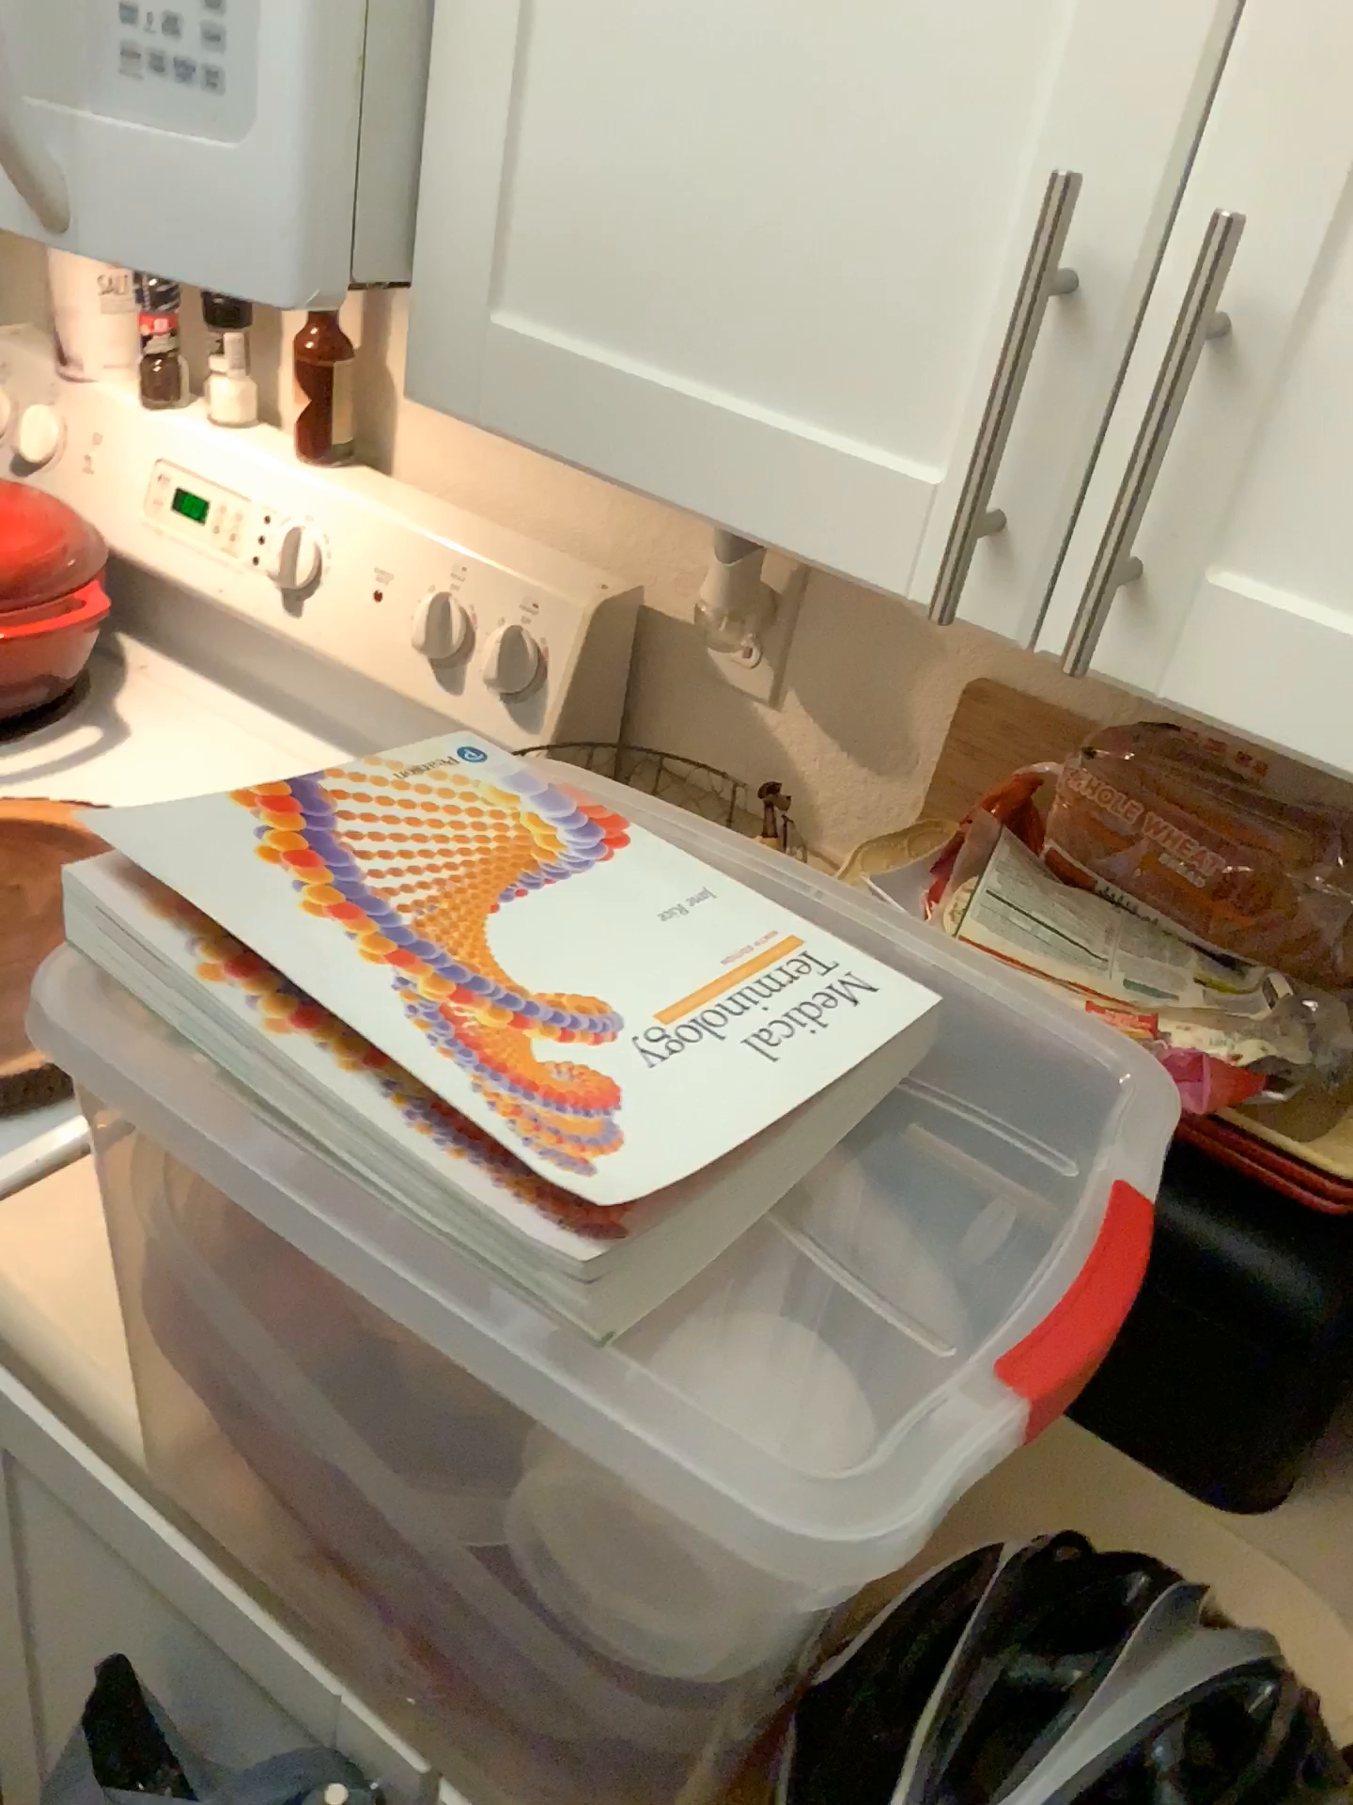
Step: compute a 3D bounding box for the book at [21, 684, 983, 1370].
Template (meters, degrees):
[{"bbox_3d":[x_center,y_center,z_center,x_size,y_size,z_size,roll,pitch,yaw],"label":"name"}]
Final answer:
[{"bbox_3d":[-0.064,0.019,0.591,0.290,0.050,0.230,28,36,25],"label":"book"}]
